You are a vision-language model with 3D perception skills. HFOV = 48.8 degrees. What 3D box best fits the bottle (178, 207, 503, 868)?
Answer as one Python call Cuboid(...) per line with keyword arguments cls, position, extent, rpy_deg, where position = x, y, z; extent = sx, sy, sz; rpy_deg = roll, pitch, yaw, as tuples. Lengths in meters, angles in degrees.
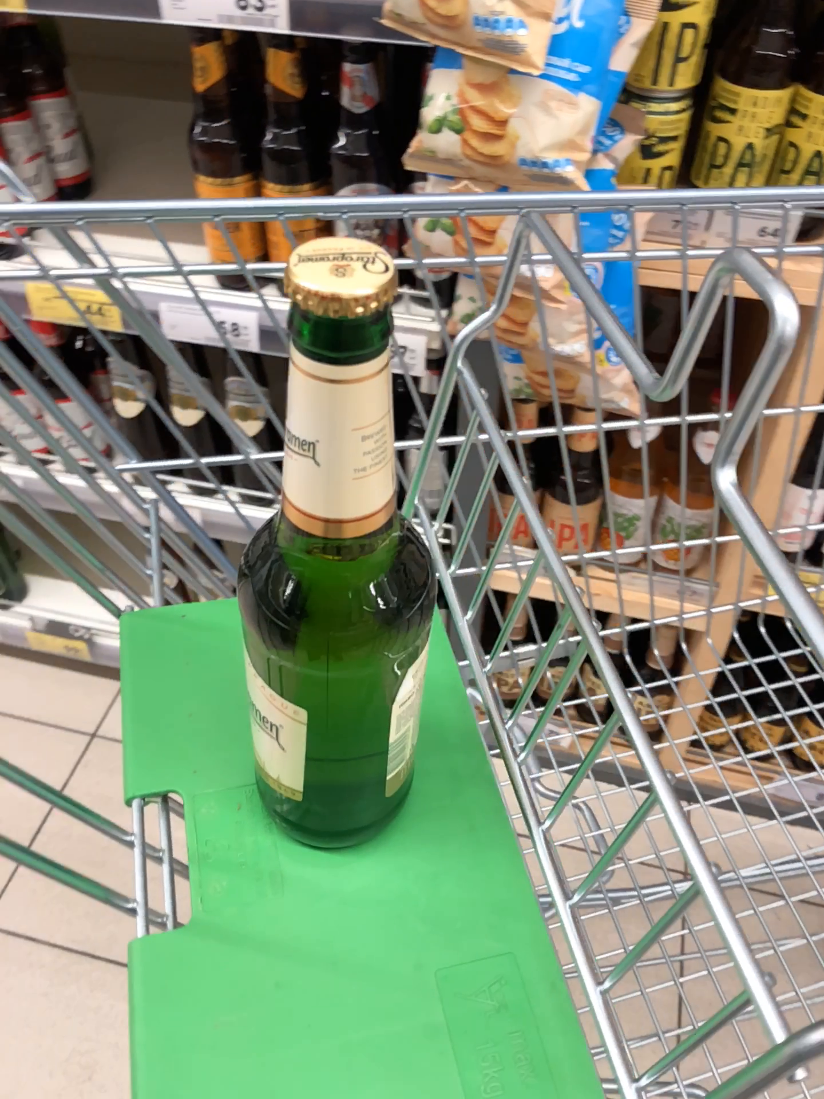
Cuboid(cls="bottle", position=(-0.023, 0.017, 0.306), extent=(0.070, 0.239, 0.070), rpy_deg=(2, 45, -2))
